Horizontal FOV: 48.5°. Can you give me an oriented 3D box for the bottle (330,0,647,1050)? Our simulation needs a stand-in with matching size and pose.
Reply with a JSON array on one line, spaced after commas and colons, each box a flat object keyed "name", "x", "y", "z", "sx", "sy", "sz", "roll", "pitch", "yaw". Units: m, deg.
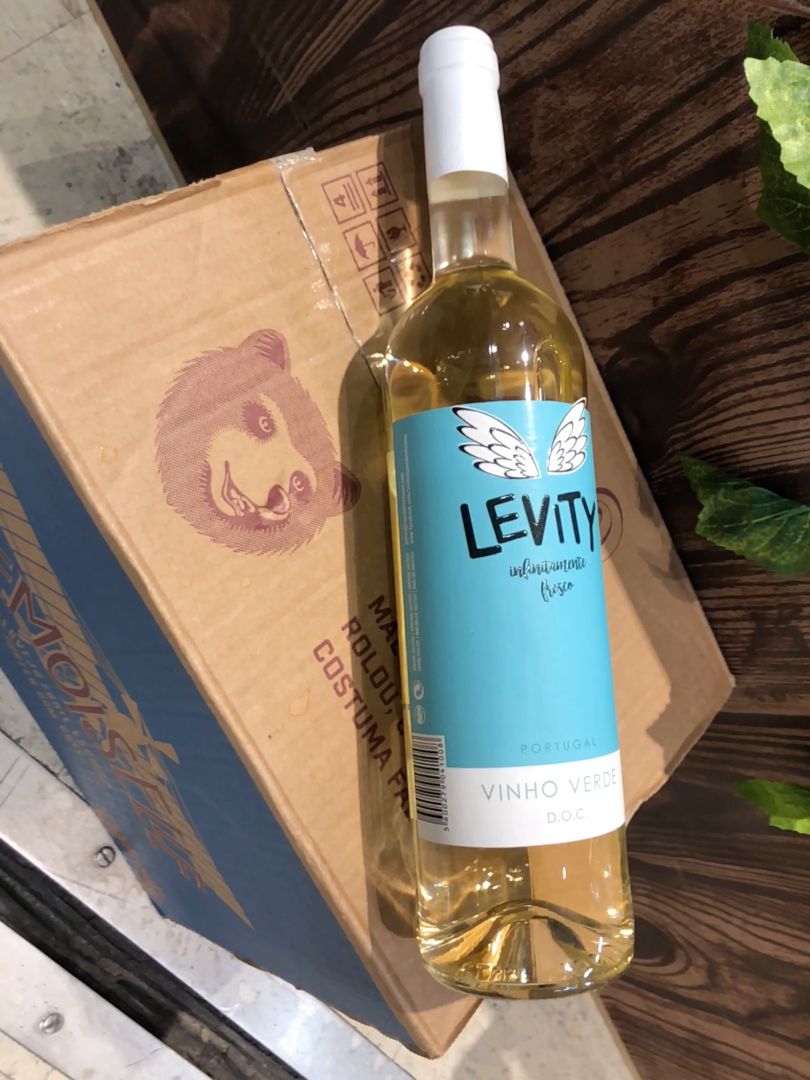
[{"name": "bottle", "x": 0.027, "y": -0.028, "z": 0.301, "sx": 0.080, "sy": 0.050, "sz": 0.340, "roll": 1, "pitch": 85, "yaw": -38}]
